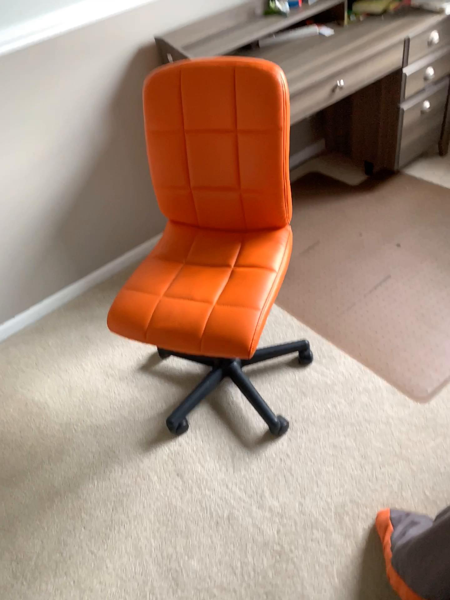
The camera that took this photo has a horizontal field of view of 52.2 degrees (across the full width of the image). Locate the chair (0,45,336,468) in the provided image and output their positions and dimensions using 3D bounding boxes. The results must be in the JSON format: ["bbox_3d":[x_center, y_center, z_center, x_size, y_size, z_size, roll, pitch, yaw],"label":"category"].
[{"bbox_3d":[-0.053,-0.102,1.292,0.614,0.901,0.621,7,46,20],"label":"chair"}]
